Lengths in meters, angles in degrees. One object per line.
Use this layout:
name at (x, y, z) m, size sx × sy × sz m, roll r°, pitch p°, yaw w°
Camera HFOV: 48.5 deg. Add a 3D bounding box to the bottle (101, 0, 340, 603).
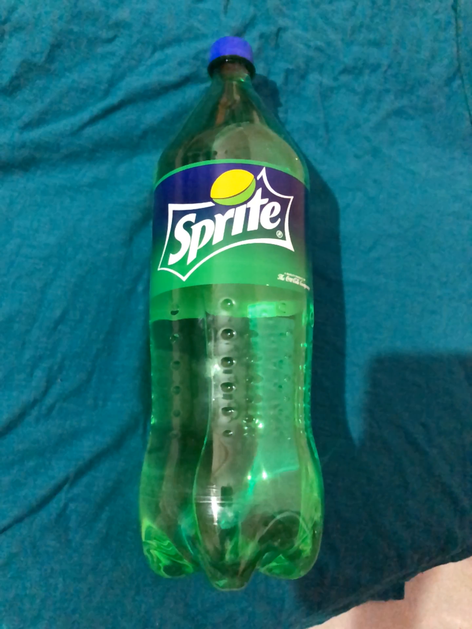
bottle at (-0.008, -0.027, 0.302) m, size 0.110 × 0.070 × 0.330 m, roll 2°, pitch 80°, yaw -8°
